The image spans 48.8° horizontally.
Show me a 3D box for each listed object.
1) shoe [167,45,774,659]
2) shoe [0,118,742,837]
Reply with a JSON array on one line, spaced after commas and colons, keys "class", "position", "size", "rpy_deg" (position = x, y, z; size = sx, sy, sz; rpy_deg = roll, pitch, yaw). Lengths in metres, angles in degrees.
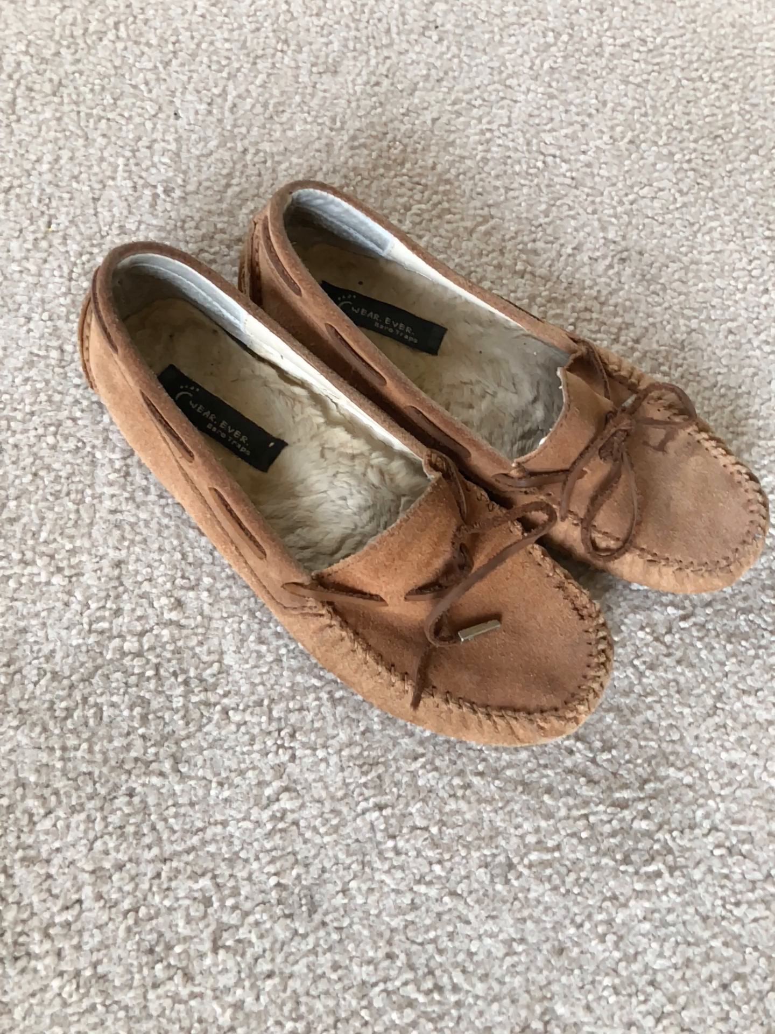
[{"class": "shoe", "position": [0.054, -0.066, 0.352], "size": [0.274, 0.068, 0.098], "rpy_deg": [34, 68, 3]}, {"class": "shoe", "position": [-0.018, -0.016, 0.320], "size": [0.270, 0.068, 0.105], "rpy_deg": [40, 68, 6]}]
